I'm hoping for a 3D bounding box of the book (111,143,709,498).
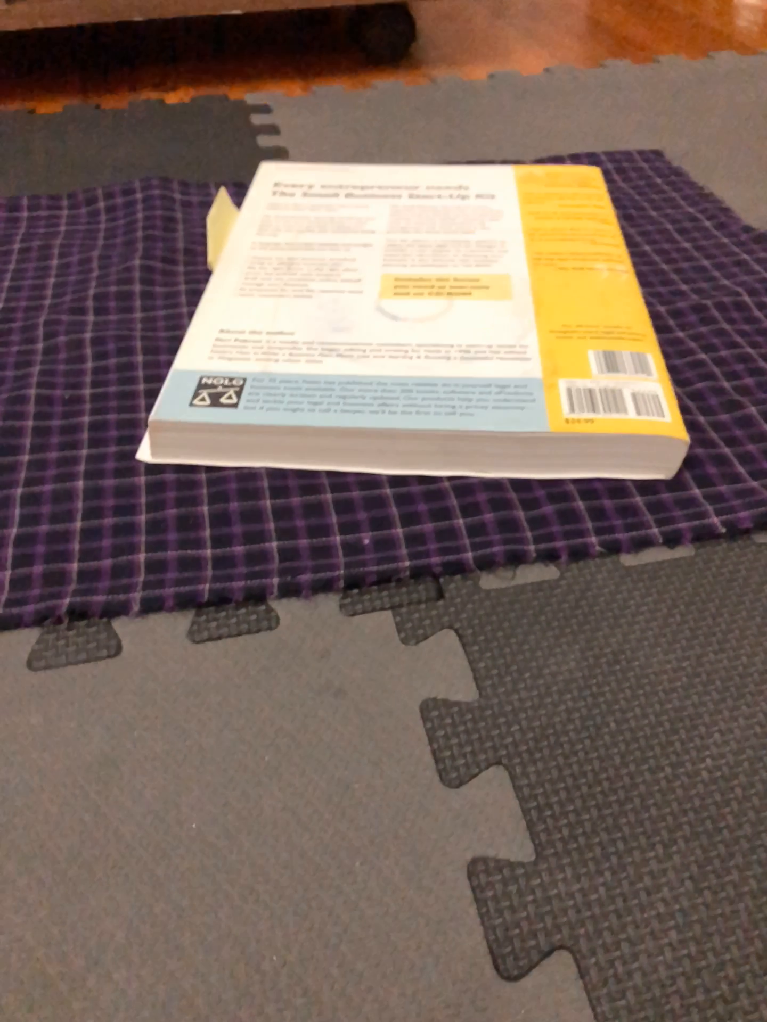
[{"bbox_3d":[0.018,-0.125,0.455,0.230,0.030,0.312,2,42,3],"label":"book"}]
